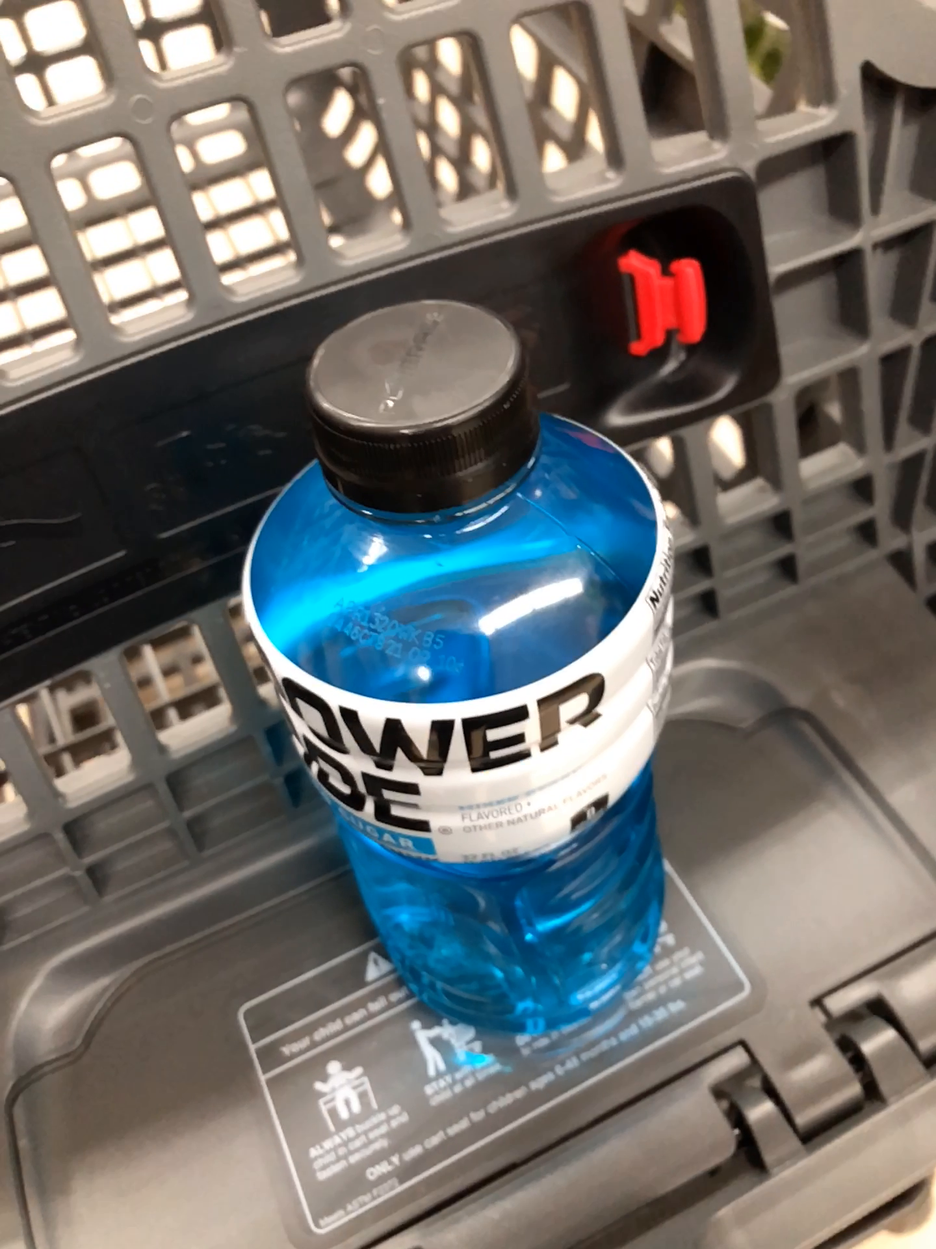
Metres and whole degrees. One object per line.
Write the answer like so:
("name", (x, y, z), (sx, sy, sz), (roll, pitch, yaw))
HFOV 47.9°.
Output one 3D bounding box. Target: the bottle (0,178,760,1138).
("bottle", (0.003, 0.023, 0.264), (0.100, 0.220, 0.100), (-6, 47, 7))
